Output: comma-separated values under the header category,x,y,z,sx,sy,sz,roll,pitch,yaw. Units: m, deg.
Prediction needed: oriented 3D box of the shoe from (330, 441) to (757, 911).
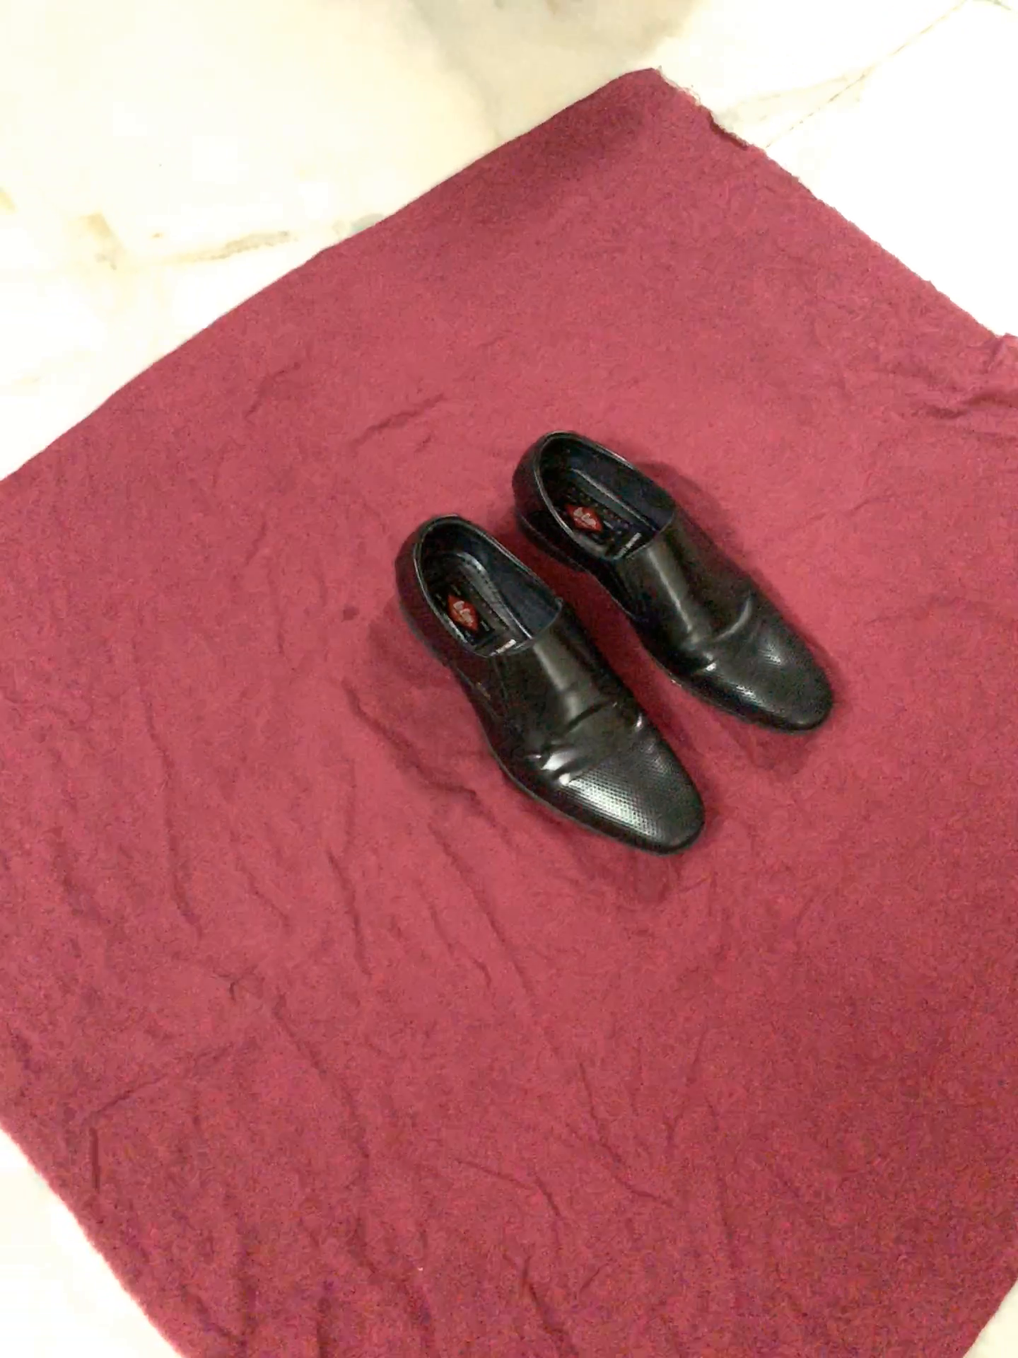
category,x,y,z,sx,sy,sz,roll,pitch,yaw
shoe,0.014,-0.005,0.697,0.100,0.100,0.301,-35,73,-15

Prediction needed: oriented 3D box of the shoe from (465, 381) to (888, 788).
category,x,y,z,sx,sy,sz,roll,pitch,yaw
shoe,0.107,-0.069,0.747,0.291,0.100,0.100,42,72,15
